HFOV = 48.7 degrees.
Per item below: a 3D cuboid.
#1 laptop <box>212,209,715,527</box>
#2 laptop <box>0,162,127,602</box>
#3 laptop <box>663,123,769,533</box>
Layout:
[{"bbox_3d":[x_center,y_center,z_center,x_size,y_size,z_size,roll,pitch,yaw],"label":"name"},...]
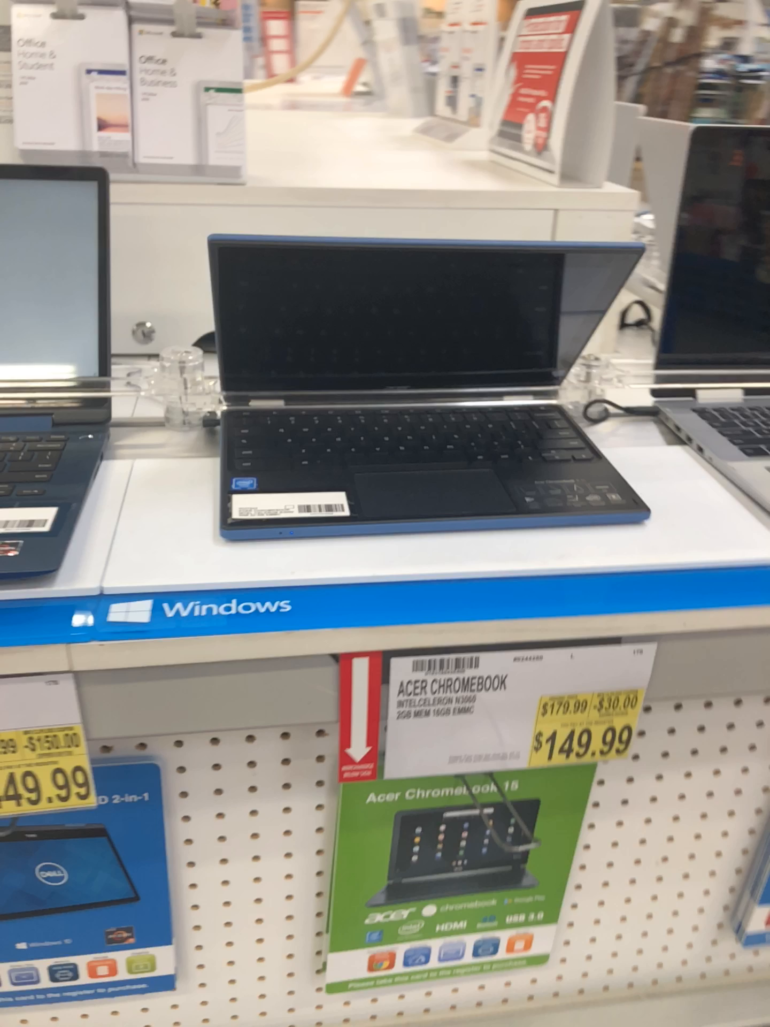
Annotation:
[{"bbox_3d":[0.031,-0.112,0.606,0.293,0.159,0.195,-2,29,-9],"label":"laptop"},{"bbox_3d":[-0.359,-0.122,0.571,0.304,0.169,0.369,-2,28,-10],"label":"laptop"},{"bbox_3d":[0.439,-0.163,0.657,0.340,0.218,0.257,-3,30,-7],"label":"laptop"}]
